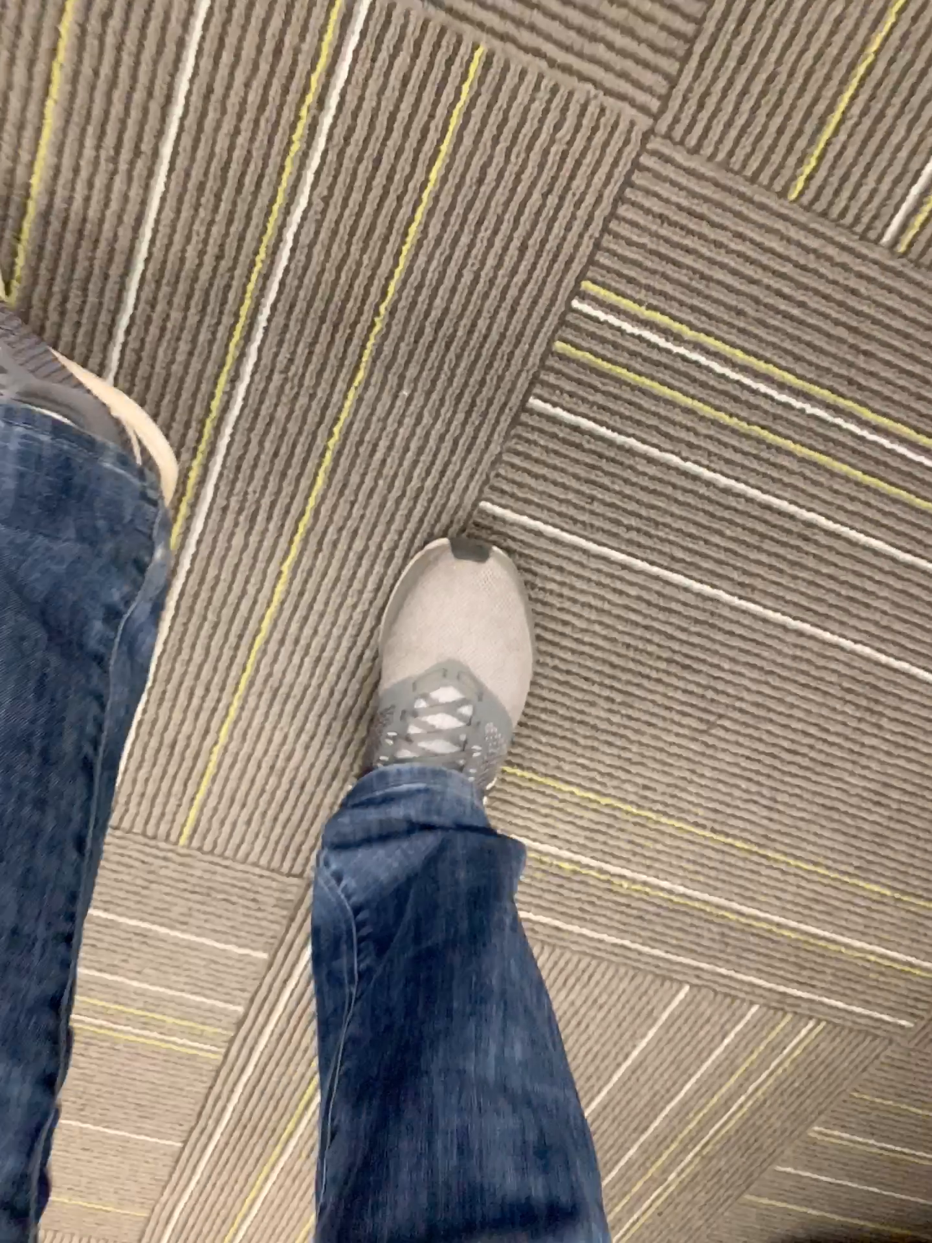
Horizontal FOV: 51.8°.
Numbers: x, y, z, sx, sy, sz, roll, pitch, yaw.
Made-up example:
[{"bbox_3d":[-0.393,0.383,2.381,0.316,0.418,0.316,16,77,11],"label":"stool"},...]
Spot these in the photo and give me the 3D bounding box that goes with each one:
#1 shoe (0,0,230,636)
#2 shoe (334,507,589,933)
[{"bbox_3d":[-0.300,-0.156,0.541,0.131,0.093,0.314,-34,116,17],"label":"shoe"},{"bbox_3d":[-0.013,0.081,0.702,0.128,0.093,0.301,8,120,-6],"label":"shoe"}]
